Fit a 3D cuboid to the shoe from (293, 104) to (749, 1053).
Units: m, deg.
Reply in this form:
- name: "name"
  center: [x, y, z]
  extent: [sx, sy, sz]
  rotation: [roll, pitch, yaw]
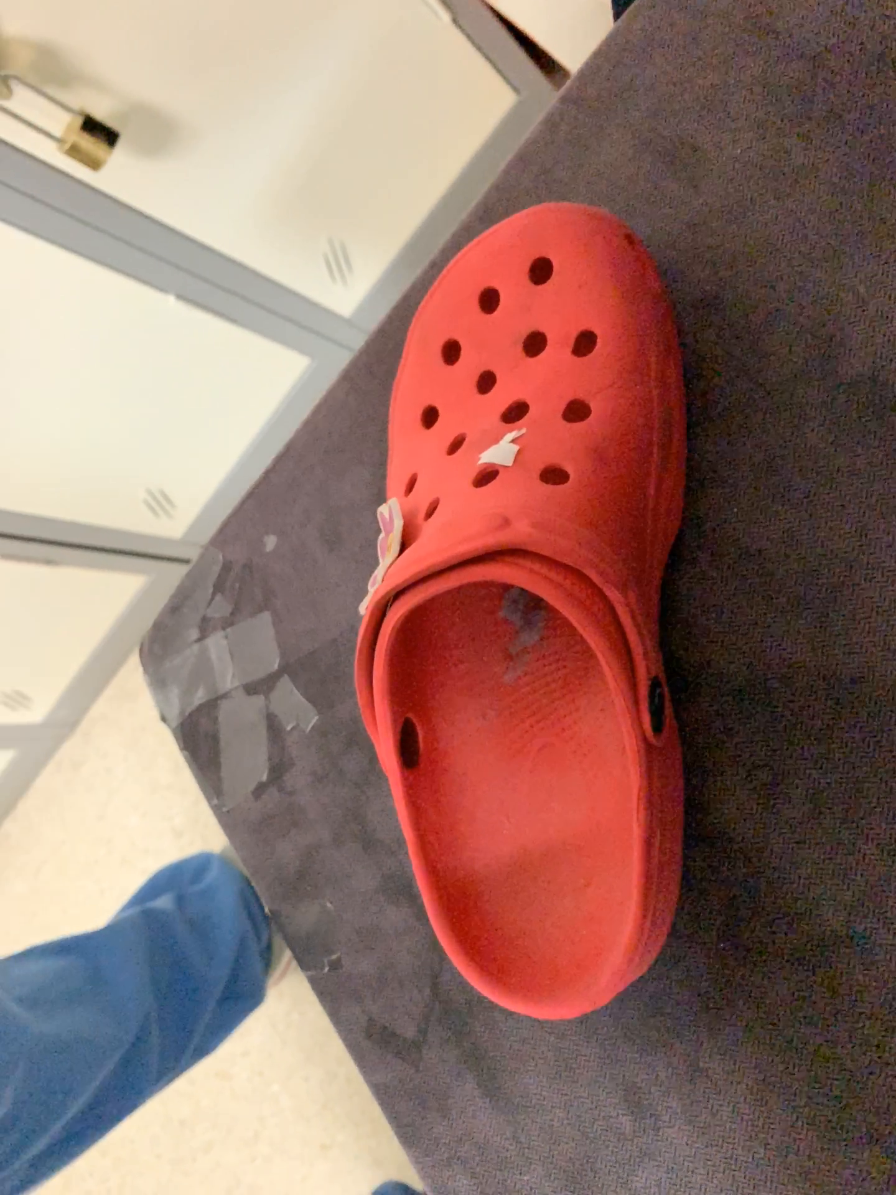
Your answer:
- name: "shoe"
  center: [0.020, -0.003, 0.261]
  extent: [0.092, 0.081, 0.208]
  rotation: [-6, 82, 33]
